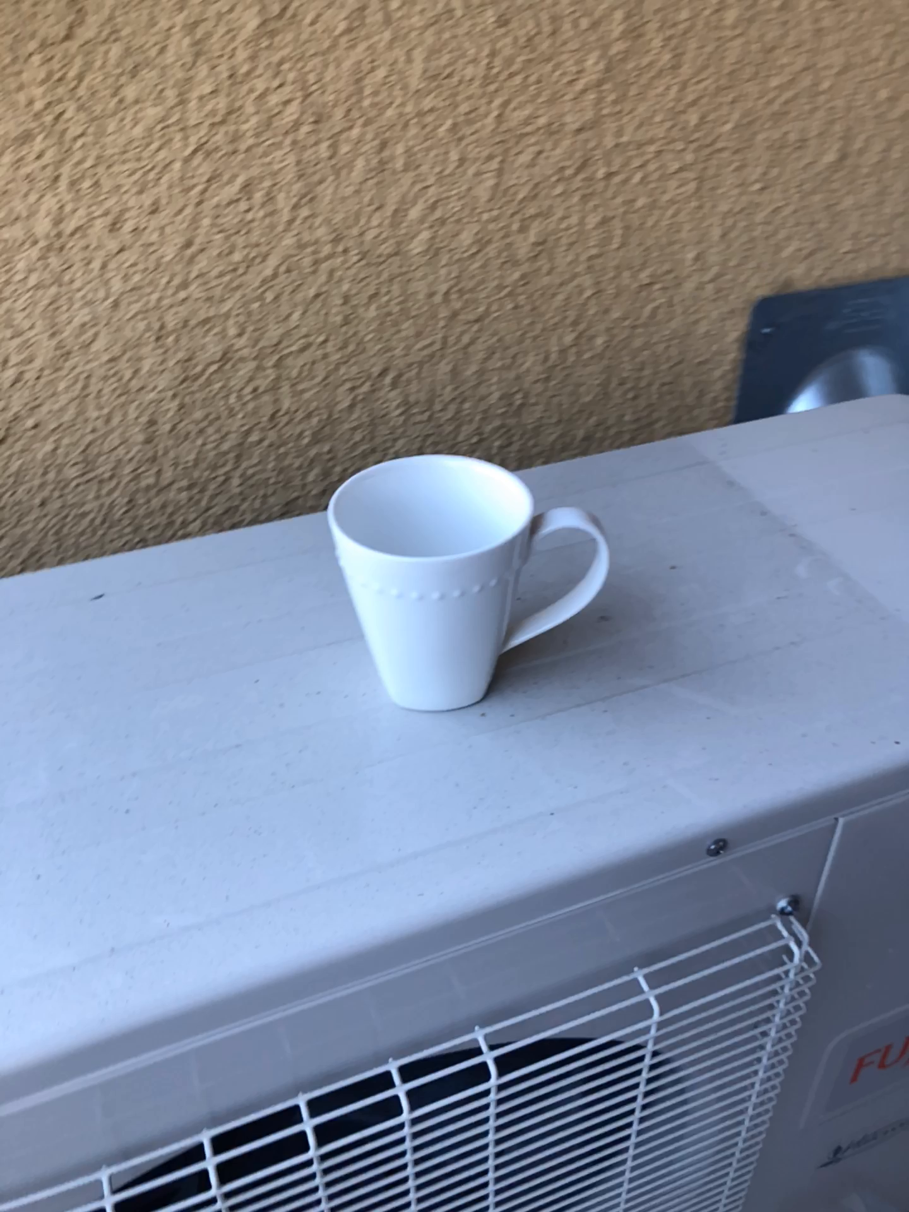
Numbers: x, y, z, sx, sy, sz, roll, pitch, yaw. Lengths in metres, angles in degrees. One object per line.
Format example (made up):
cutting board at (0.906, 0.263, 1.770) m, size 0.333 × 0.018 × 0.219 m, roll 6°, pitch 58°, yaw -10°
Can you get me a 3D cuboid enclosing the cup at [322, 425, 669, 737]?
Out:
cup at (0.014, -0.016, 0.491) m, size 0.140 × 0.100 × 0.100 m, roll -6°, pitch 35°, yaw -9°
